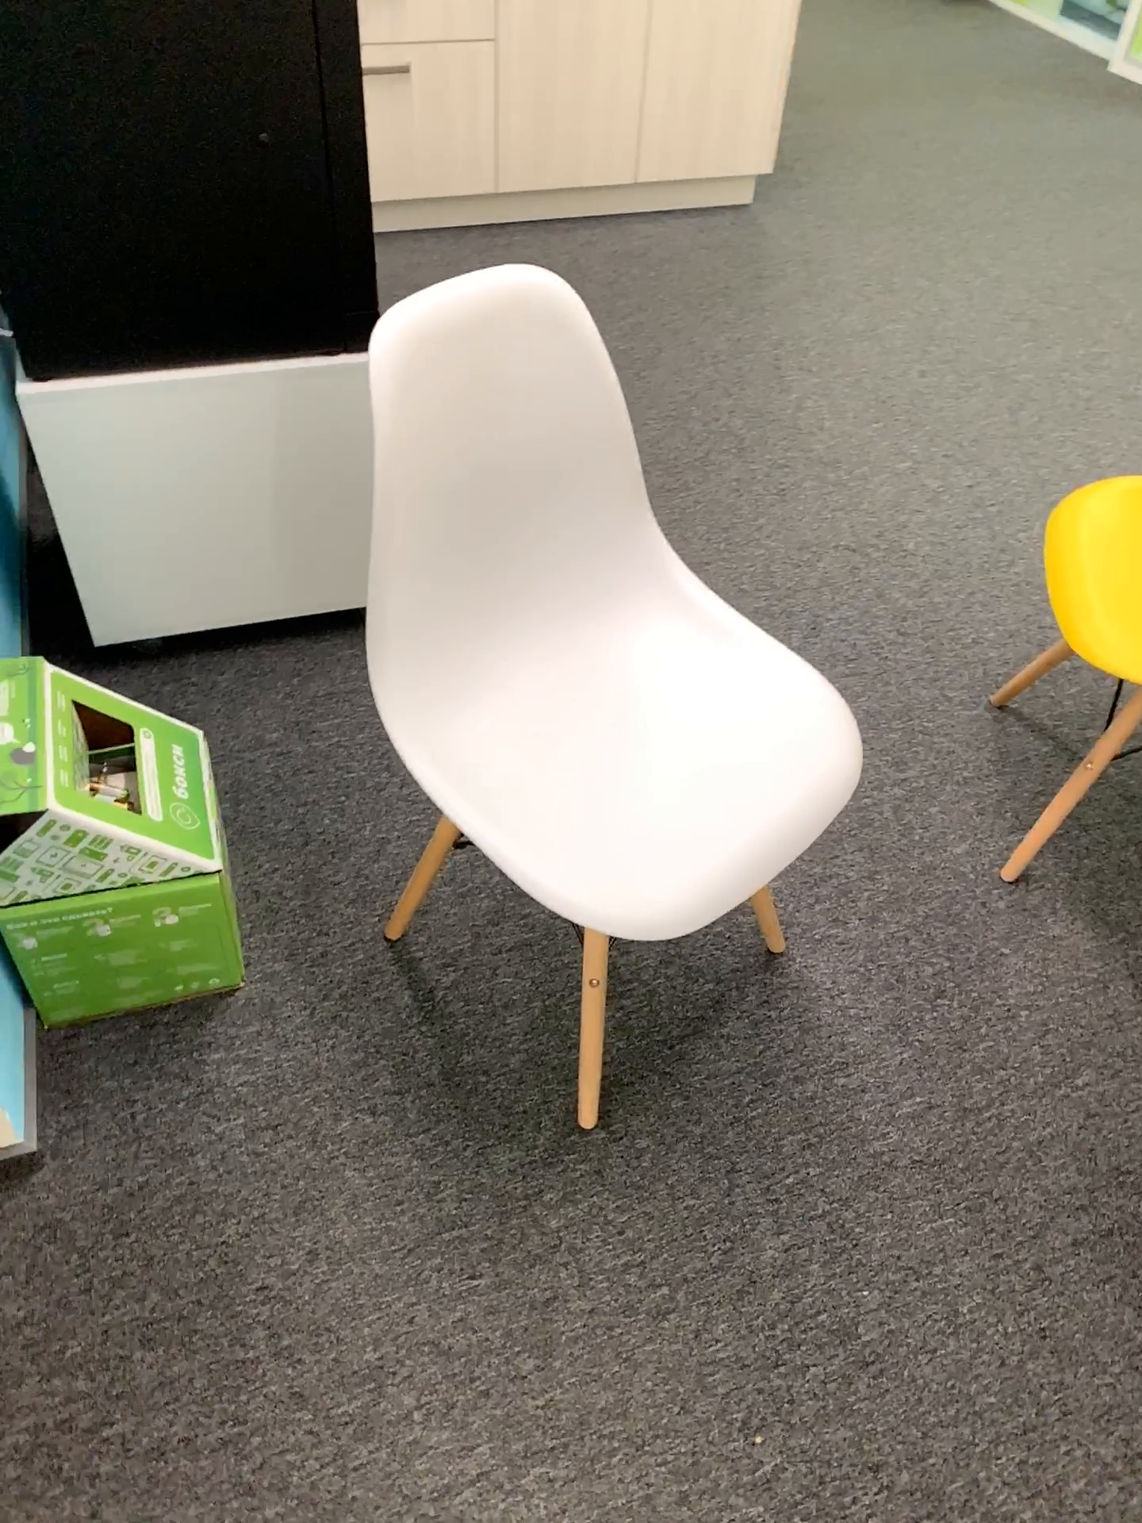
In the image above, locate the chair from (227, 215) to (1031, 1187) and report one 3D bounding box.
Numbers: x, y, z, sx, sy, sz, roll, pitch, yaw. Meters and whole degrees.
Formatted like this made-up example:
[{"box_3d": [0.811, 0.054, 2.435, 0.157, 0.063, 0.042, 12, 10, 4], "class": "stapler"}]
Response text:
[{"box_3d": [0.027, -0.042, 1.274, 0.462, 0.816, 0.501, -34, 57, -31], "class": "chair"}]
